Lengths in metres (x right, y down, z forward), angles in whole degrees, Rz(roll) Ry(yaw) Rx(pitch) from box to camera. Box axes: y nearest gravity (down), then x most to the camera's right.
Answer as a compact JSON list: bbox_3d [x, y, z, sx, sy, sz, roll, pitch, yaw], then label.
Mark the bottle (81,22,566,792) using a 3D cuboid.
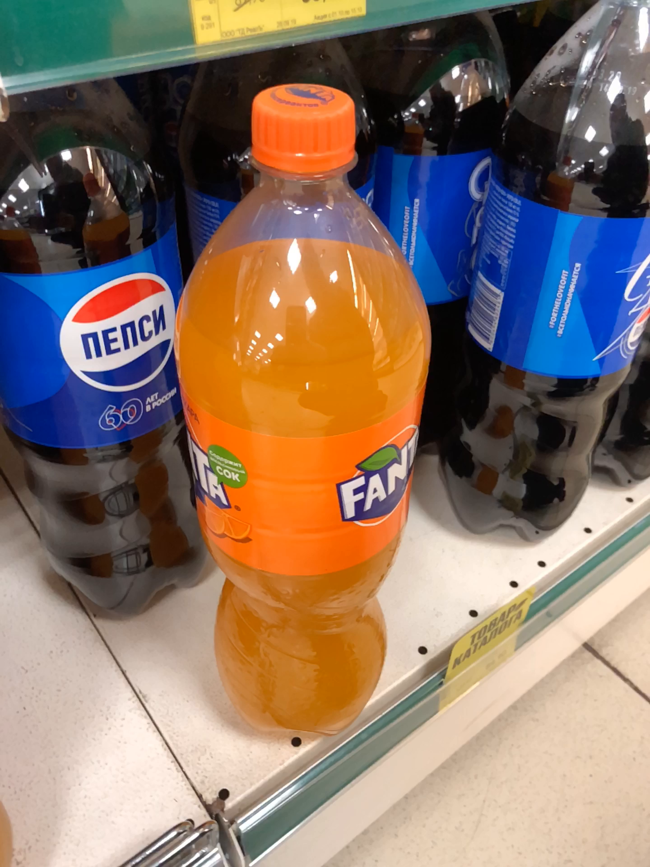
[{"bbox_3d":[-0.003,0.017,0.303,0.100,0.308,0.090,-30,50,-30],"label":"bottle"}]
